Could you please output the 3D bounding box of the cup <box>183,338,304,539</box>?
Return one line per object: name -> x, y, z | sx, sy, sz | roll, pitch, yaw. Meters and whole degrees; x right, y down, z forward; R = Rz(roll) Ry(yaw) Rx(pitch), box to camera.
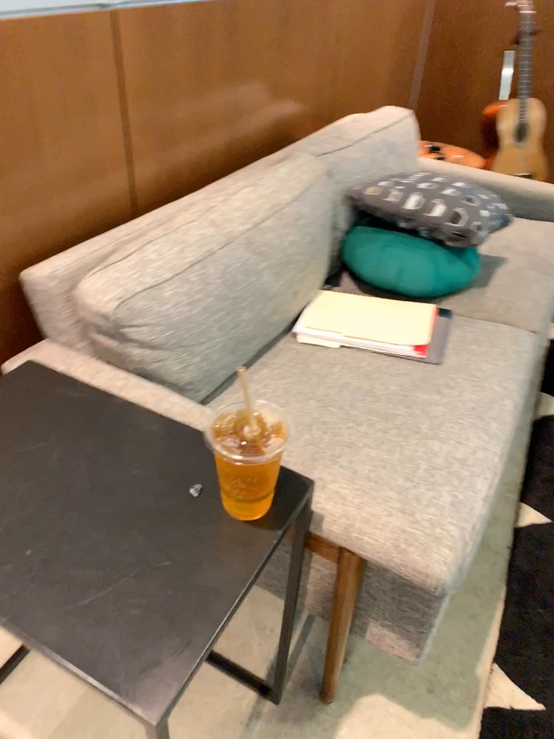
cup -> -0.038, 0.077, 0.617 | 0.090, 0.189, 0.080 | -25, 46, -32
